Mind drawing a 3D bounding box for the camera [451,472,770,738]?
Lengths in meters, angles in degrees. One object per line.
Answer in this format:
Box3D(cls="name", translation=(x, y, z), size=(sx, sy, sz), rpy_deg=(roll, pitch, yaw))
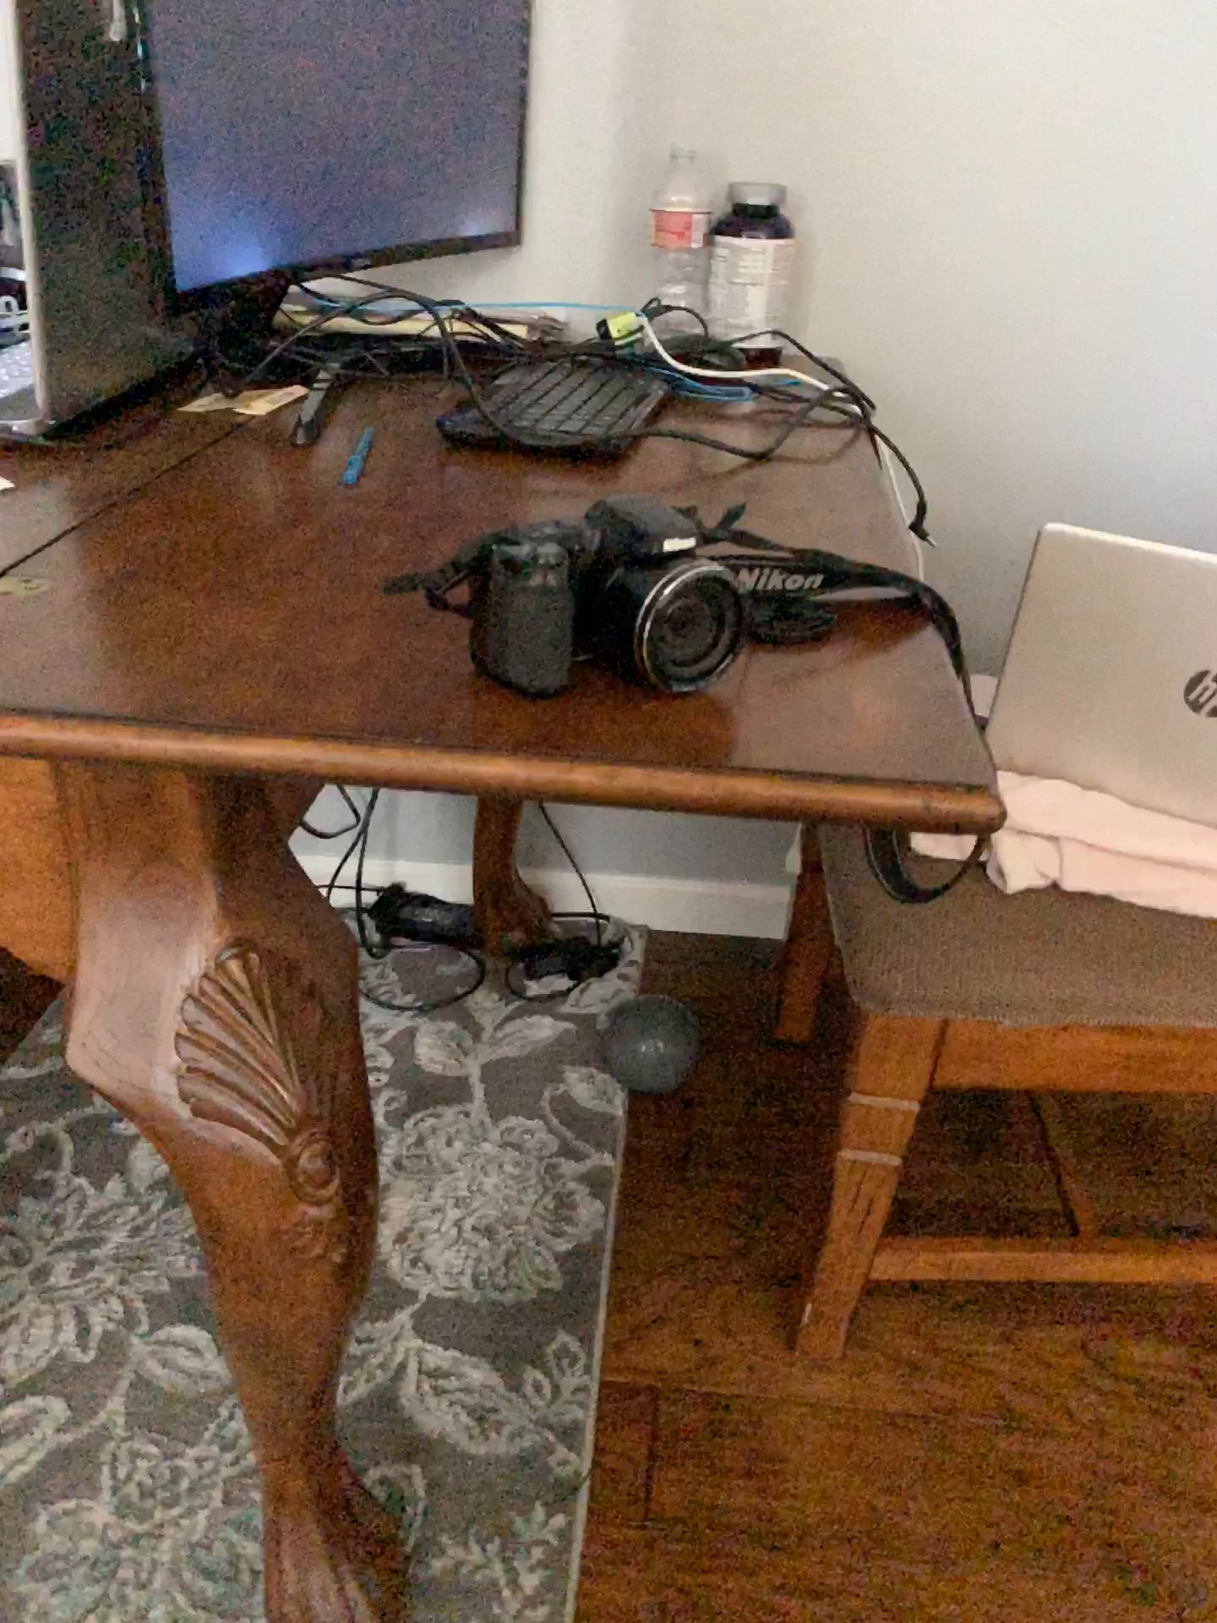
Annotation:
Box3D(cls="camera", translation=(-0.001, -0.099, 0.567), size=(0.110, 0.079, 0.091), rpy_deg=(-16, 33, -28))
